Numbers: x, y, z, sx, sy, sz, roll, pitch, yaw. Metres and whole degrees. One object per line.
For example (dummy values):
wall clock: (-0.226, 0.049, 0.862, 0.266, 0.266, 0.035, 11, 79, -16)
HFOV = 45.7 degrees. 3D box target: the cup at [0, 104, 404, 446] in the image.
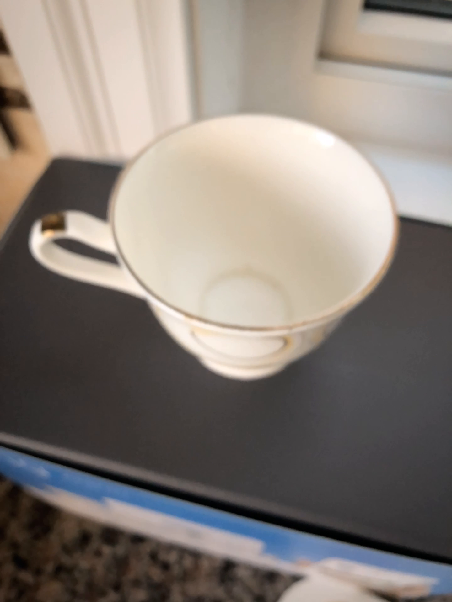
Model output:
cup: (-0.002, -0.007, 0.177, 0.100, 0.066, 0.076, 8, 61, 5)
